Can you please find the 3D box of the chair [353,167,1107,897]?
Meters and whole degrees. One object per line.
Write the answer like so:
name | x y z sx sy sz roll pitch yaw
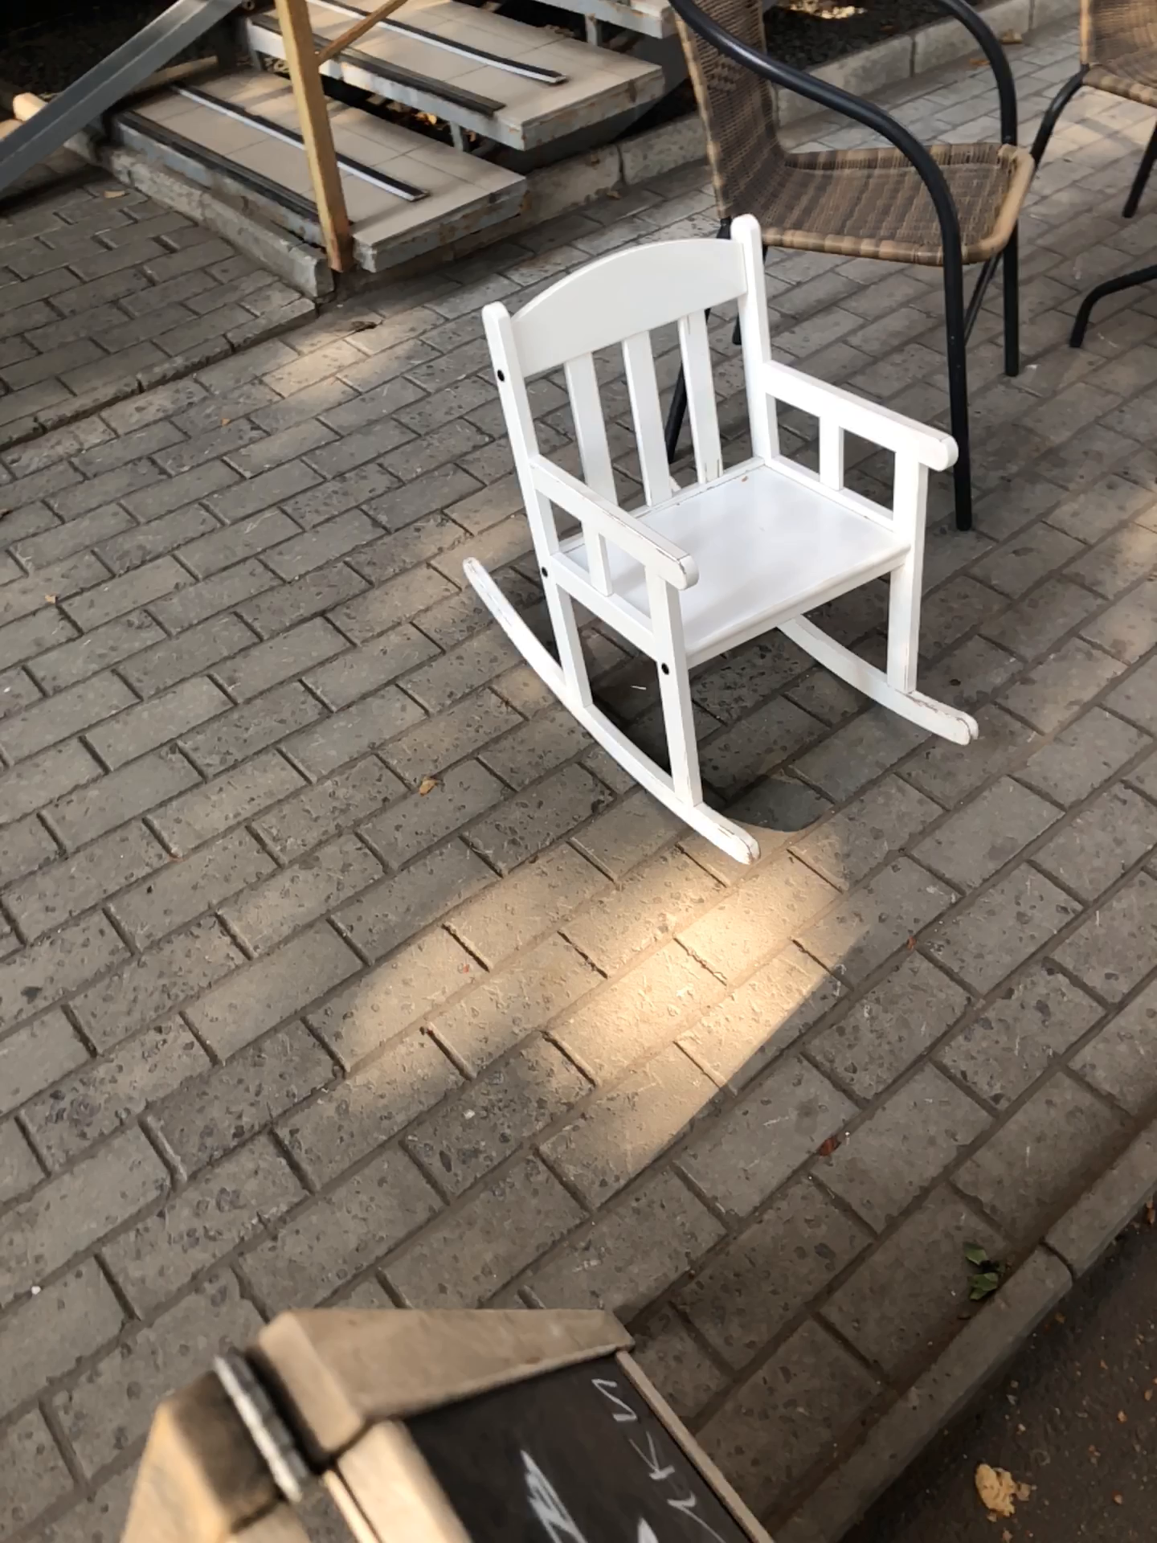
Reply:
chair | 0.135 -0.332 1.537 0.441 0.458 0.752 -28 49 -21
